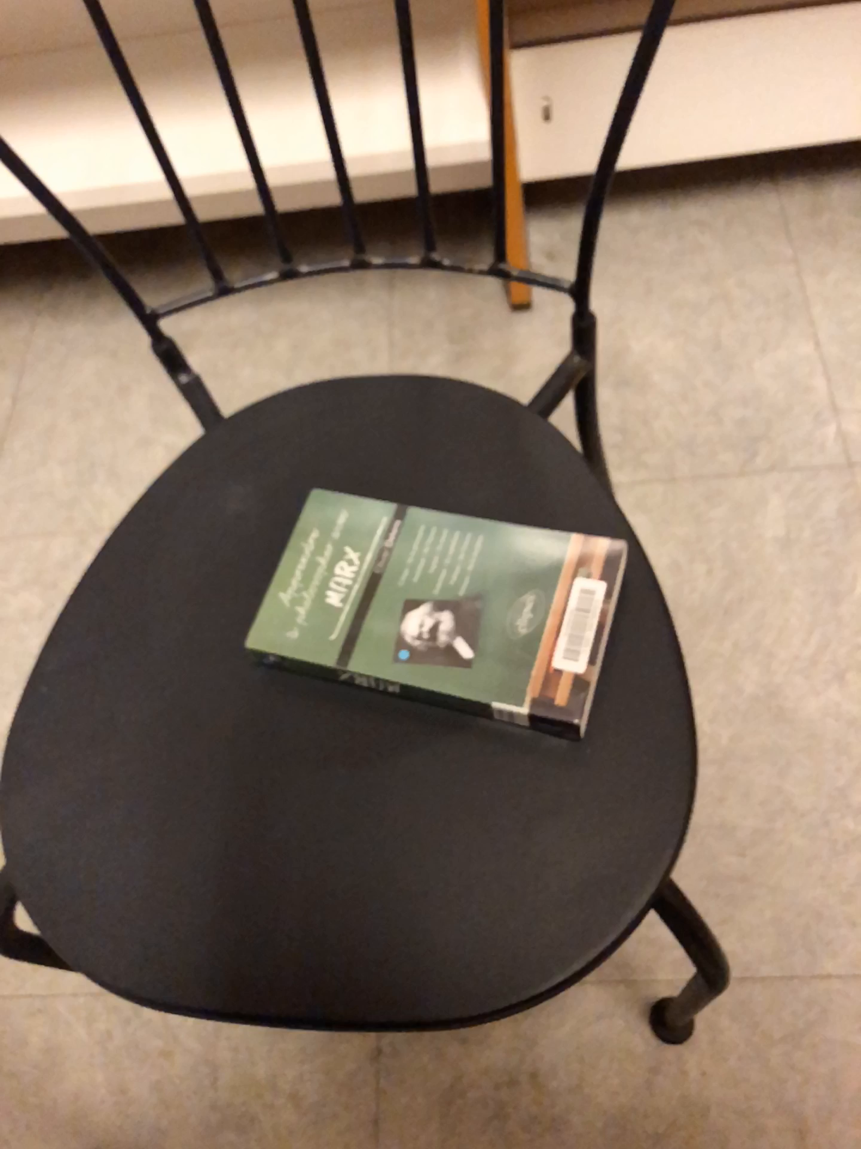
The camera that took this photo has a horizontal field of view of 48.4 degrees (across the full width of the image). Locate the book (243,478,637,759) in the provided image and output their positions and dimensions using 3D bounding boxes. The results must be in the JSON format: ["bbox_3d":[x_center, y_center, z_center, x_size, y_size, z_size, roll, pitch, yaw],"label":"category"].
[{"bbox_3d":[0.006,0.017,0.497,0.177,0.024,0.110,12,64,16],"label":"book"}]
